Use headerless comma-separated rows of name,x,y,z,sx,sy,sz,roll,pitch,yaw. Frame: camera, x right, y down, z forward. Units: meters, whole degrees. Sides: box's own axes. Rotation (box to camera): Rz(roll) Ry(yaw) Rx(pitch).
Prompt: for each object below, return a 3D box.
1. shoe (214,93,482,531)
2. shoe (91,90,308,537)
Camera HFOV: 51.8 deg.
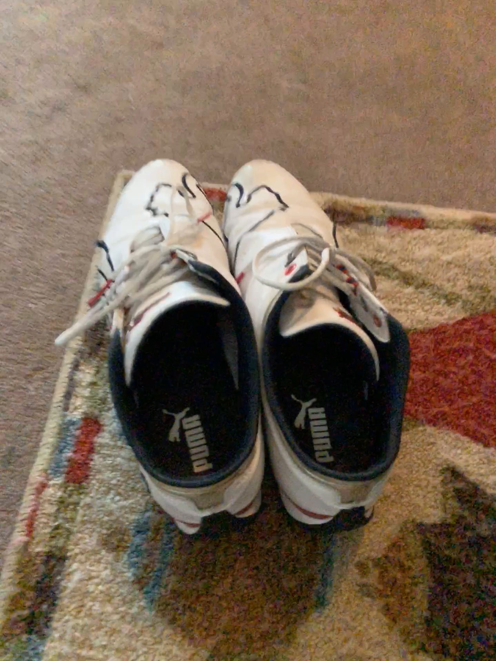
shoe,0.044,-0.026,0.357,0.100,0.089,0.292,-6,64,-8
shoe,-0.045,-0.023,0.356,0.100,0.099,0.292,-6,64,-8
